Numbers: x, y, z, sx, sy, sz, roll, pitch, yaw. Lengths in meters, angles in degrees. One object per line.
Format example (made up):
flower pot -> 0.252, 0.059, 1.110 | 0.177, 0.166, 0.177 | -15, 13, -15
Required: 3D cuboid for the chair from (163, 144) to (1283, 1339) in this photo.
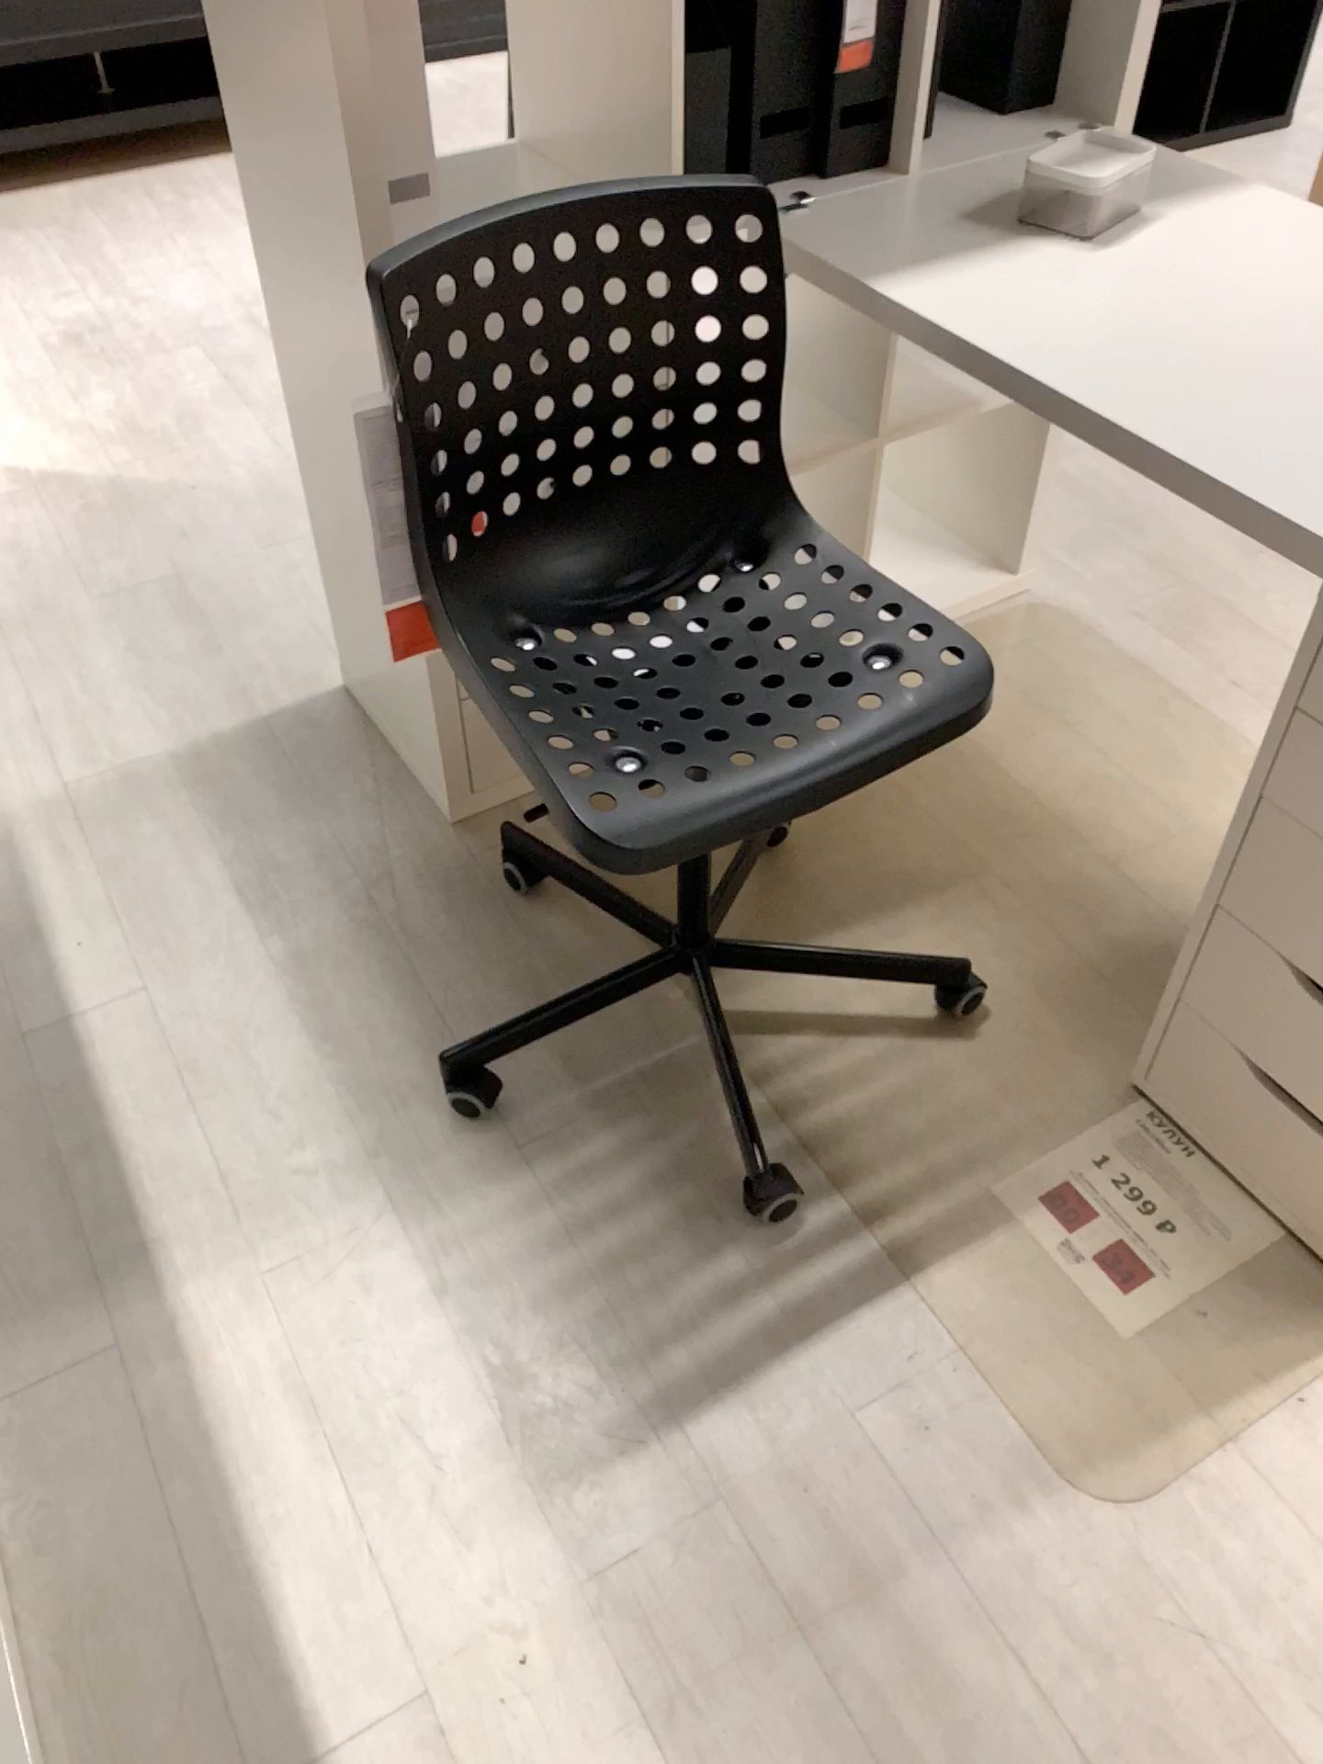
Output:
chair -> 0.010, -0.172, 1.485 | 0.681, 0.865, 0.753 | -22, 49, -20
